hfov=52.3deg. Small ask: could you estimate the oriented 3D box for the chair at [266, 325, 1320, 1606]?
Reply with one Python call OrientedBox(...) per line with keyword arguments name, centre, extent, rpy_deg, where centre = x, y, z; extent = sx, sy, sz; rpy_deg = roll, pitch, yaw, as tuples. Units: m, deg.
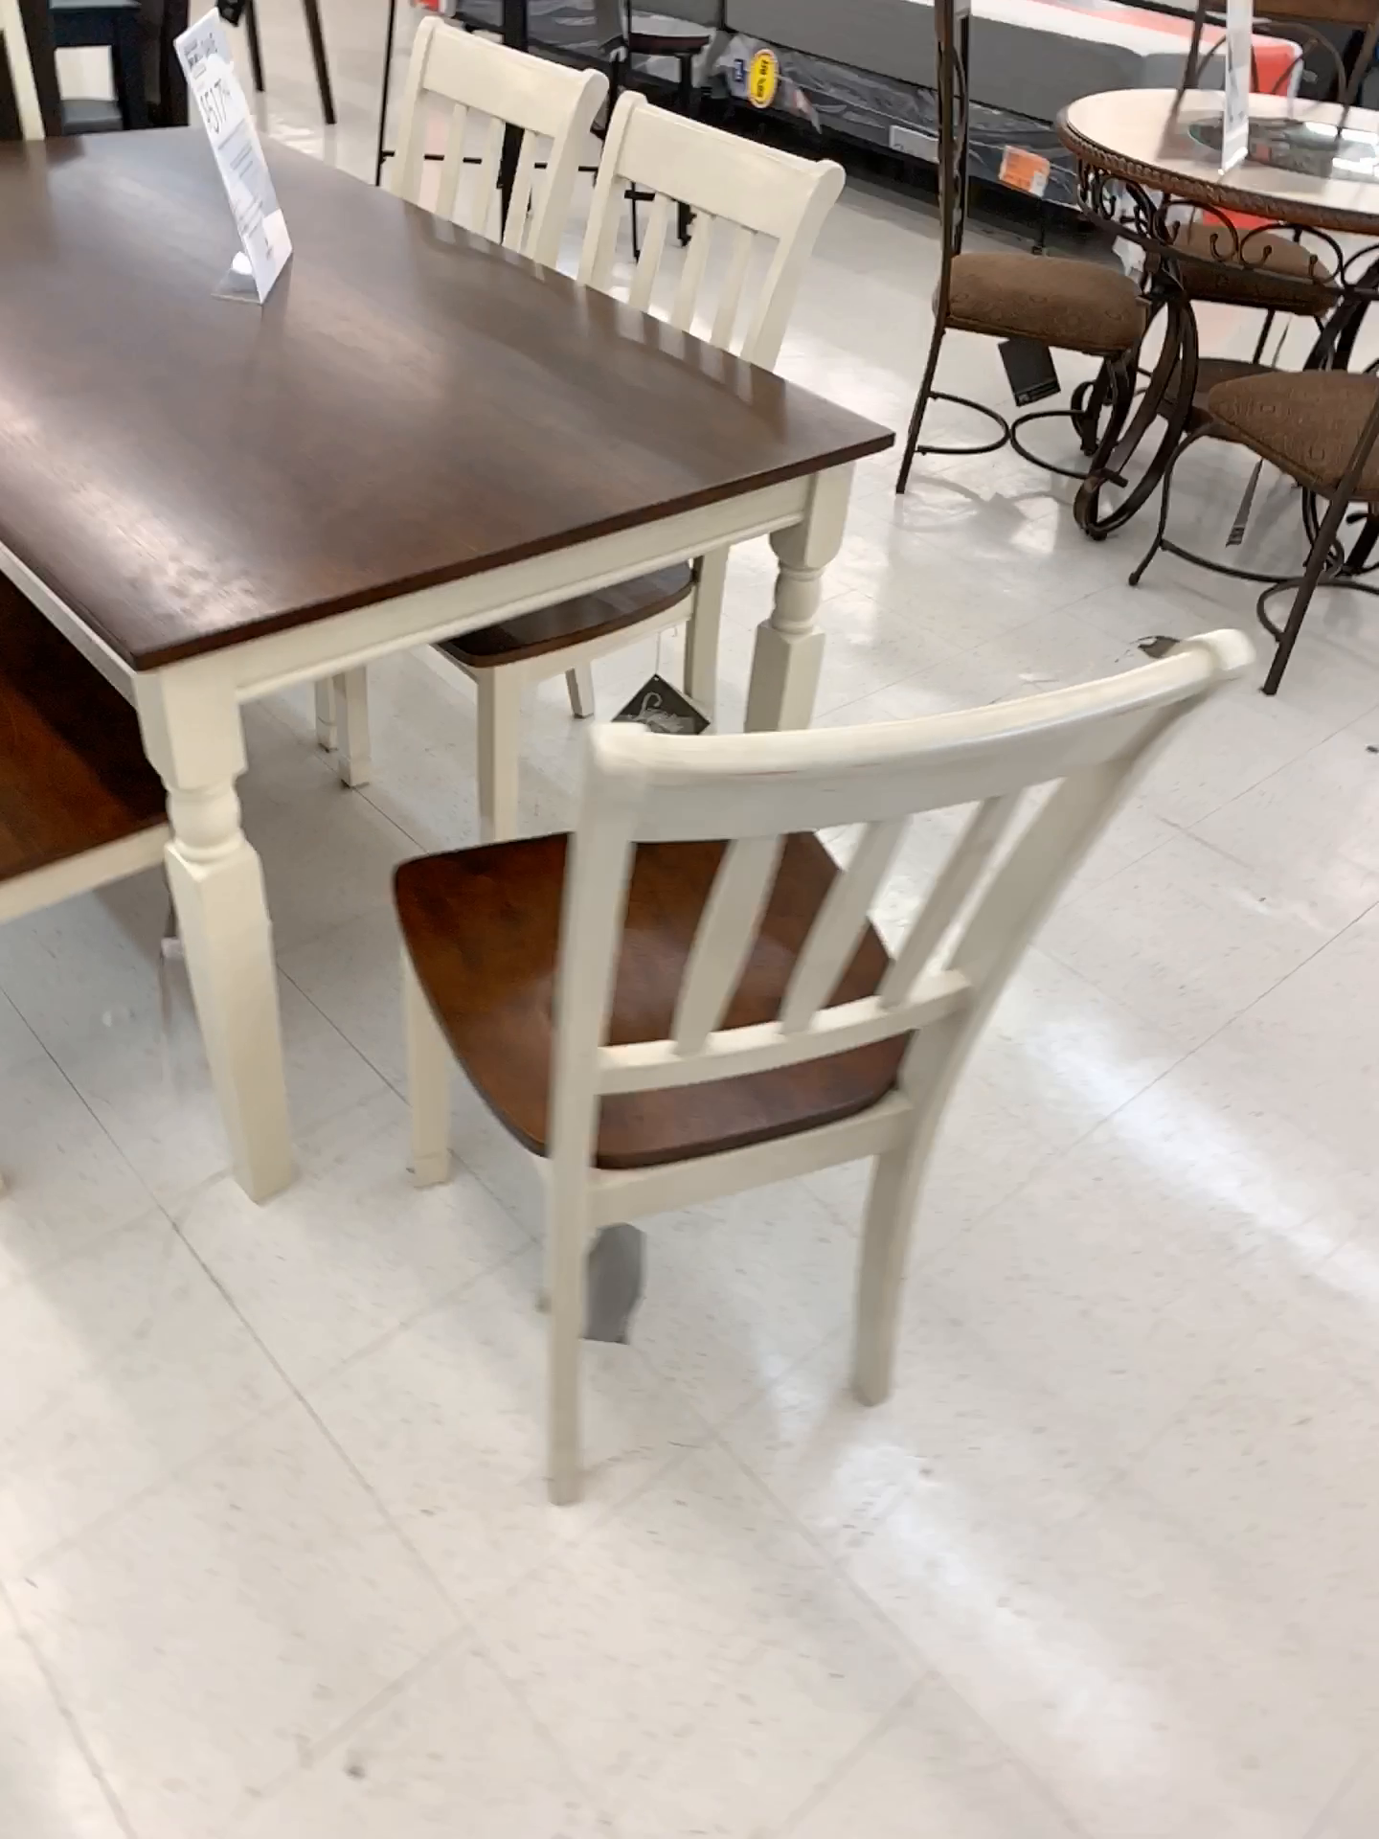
OrientedBox(name="chair", centre=(-0.005, 0.044, 1.259), extent=(0.531, 0.905, 0.573), rpy_deg=(-12, 44, -21))
